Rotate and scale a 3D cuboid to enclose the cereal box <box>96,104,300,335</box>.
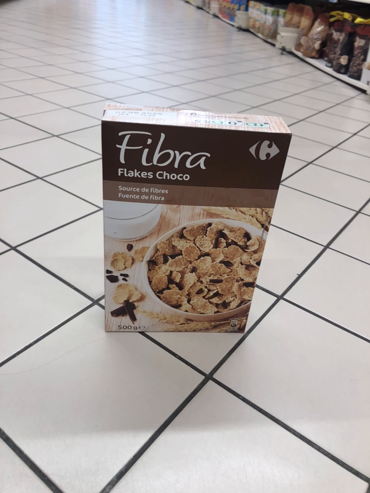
[{"bbox_3d":[0.000,-0.016,0.500,0.200,0.278,0.070,1,34,-8],"label":"cereal box"}]
